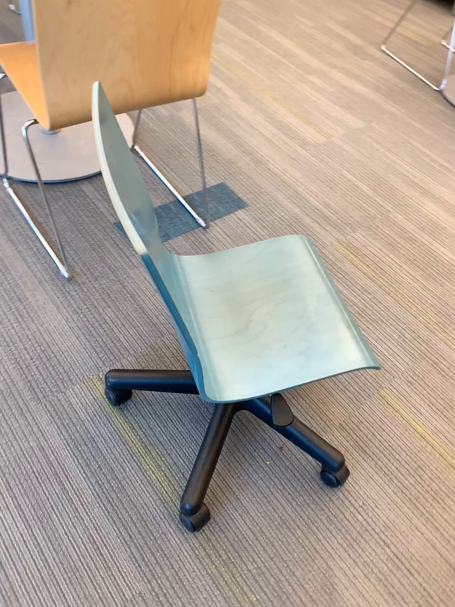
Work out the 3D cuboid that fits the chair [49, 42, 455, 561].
[{"bbox_3d":[0.069,-0.008,0.878,0.611,0.668,0.602,-10,53,-18],"label":"chair"}]
